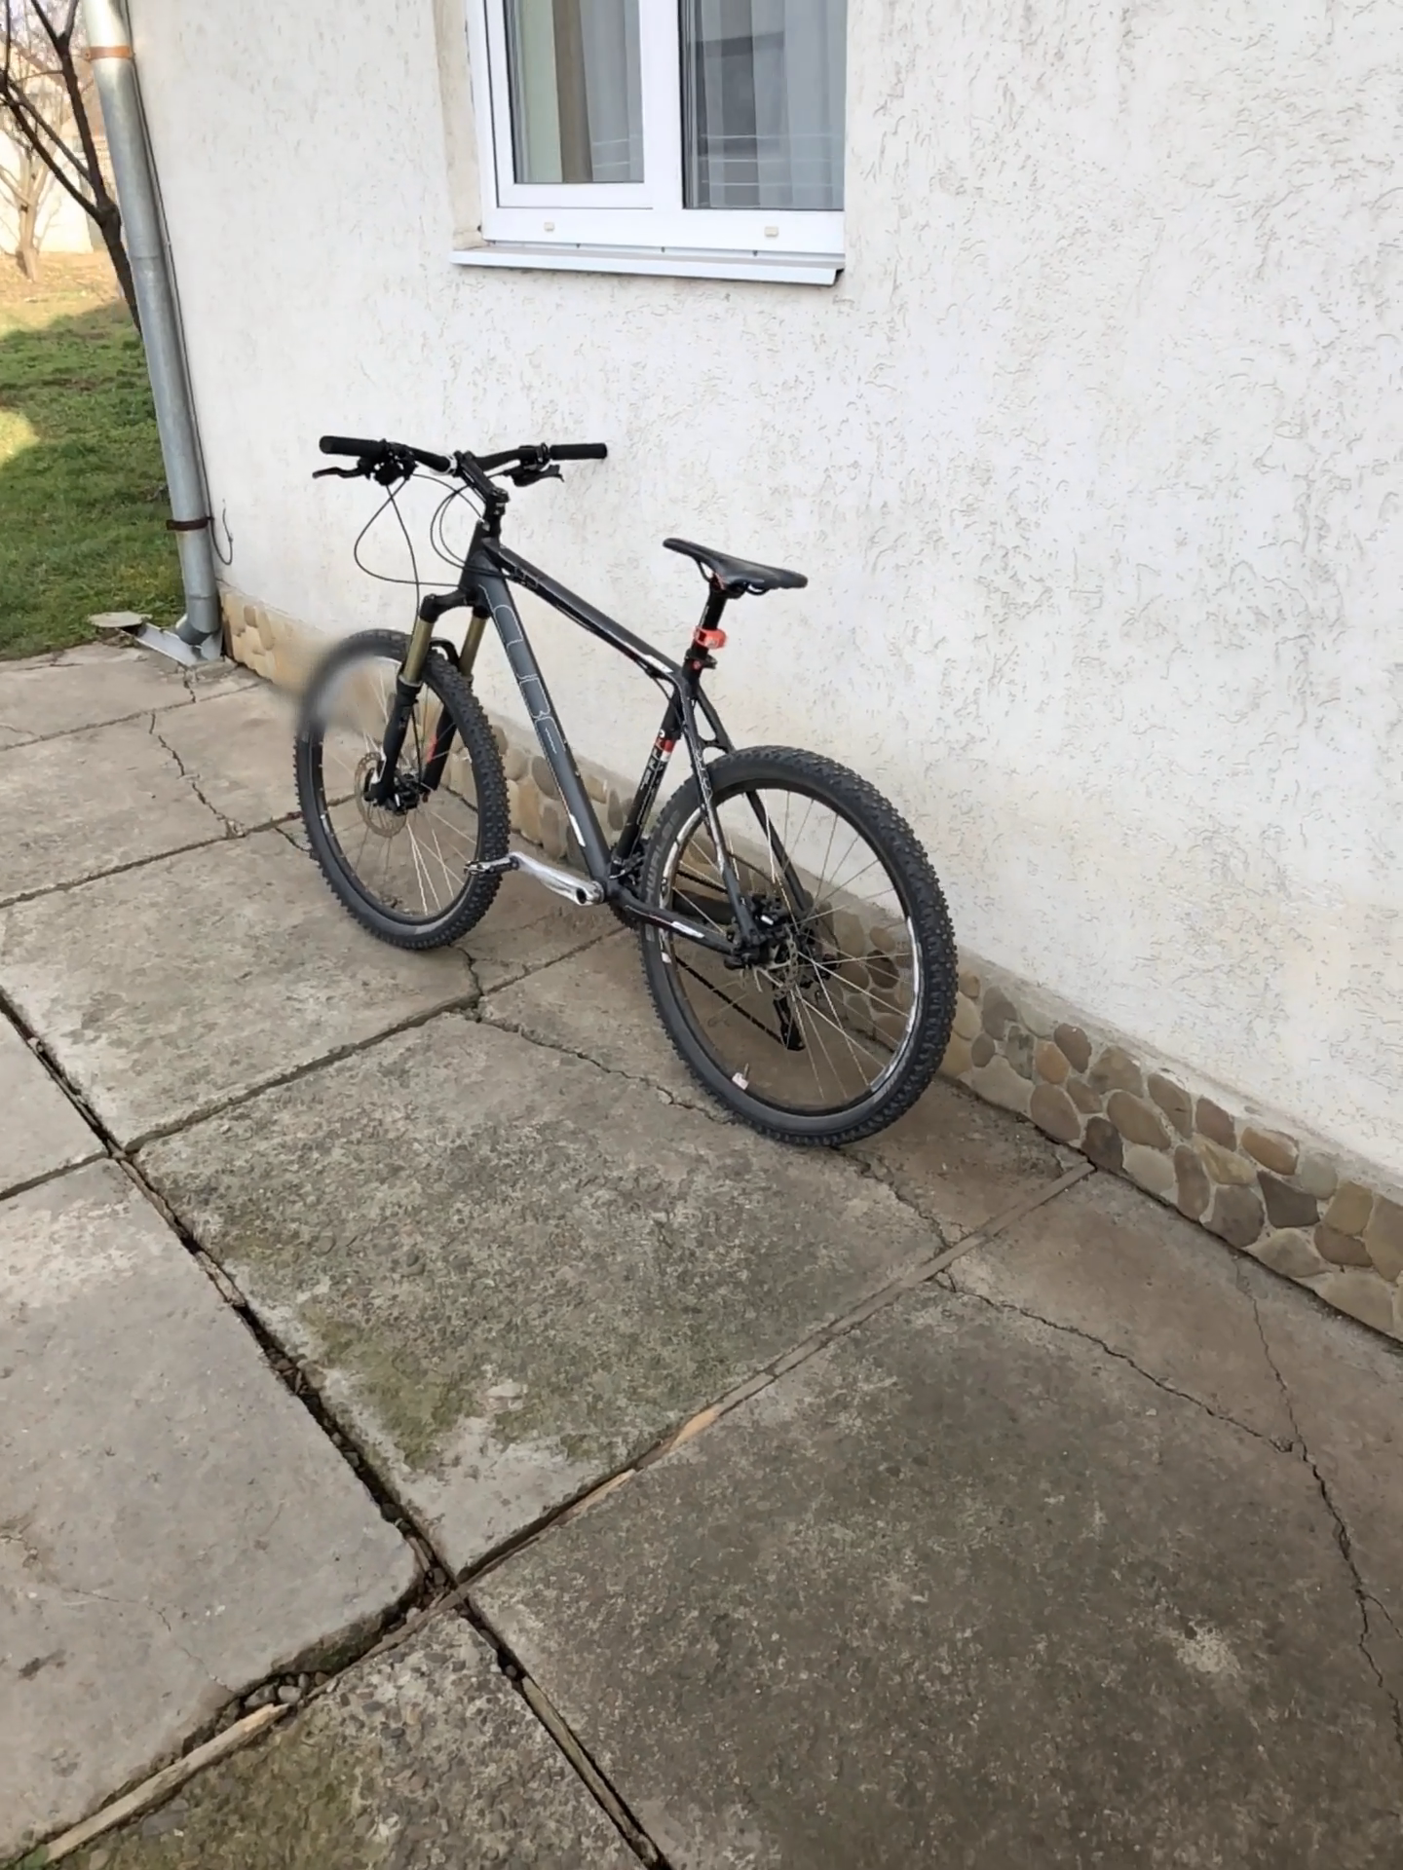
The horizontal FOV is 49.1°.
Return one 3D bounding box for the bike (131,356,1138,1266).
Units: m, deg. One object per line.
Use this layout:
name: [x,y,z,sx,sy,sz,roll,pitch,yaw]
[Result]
bike: [-0.217,-0.386,2.887,1.778,1.090,0.688,25,36,38]
